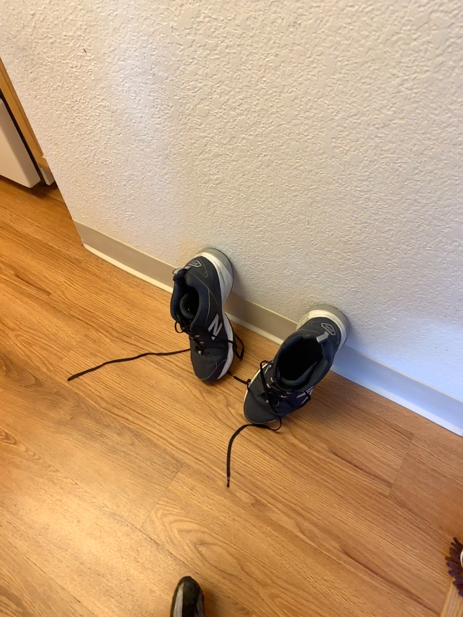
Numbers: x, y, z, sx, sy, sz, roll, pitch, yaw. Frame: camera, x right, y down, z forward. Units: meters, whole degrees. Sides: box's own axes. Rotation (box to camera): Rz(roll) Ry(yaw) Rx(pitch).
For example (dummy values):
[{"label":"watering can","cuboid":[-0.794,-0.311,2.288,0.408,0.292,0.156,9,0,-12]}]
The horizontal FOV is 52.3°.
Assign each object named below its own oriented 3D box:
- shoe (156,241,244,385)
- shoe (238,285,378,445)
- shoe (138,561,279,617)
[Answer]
[{"label":"shoe","cuboid":[-0.067,0.006,1.085,0.150,0.259,0.180,7,30,8]},{"label":"shoe","cuboid":[0.131,0.106,0.844,0.110,0.259,0.110,34,37,7]},{"label":"shoe","cuboid":[-0.040,0.568,0.715,0.110,0.110,0.301,-21,57,-3]}]
